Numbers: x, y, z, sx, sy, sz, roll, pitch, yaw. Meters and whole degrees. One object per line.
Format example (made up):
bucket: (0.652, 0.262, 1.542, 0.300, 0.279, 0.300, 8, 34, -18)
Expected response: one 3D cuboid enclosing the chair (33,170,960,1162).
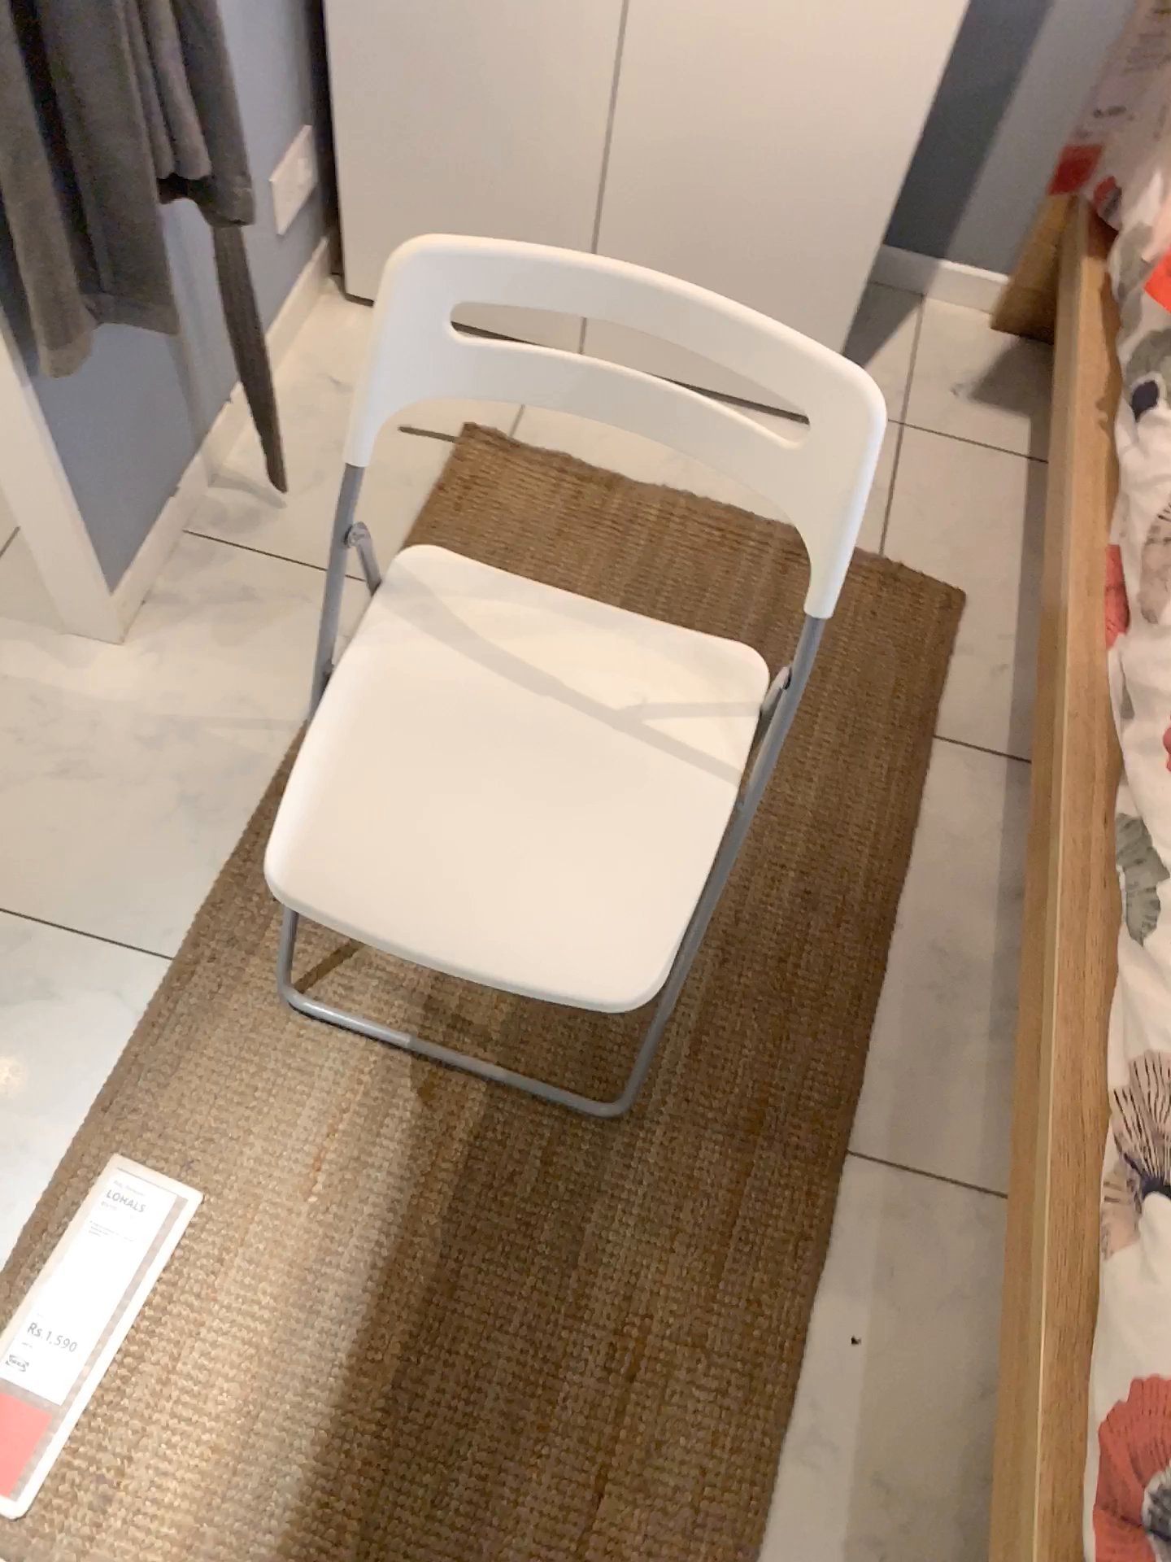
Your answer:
chair: (-0.053, -0.033, 1.024, 0.450, 0.659, 0.431, 19, 60, 4)
